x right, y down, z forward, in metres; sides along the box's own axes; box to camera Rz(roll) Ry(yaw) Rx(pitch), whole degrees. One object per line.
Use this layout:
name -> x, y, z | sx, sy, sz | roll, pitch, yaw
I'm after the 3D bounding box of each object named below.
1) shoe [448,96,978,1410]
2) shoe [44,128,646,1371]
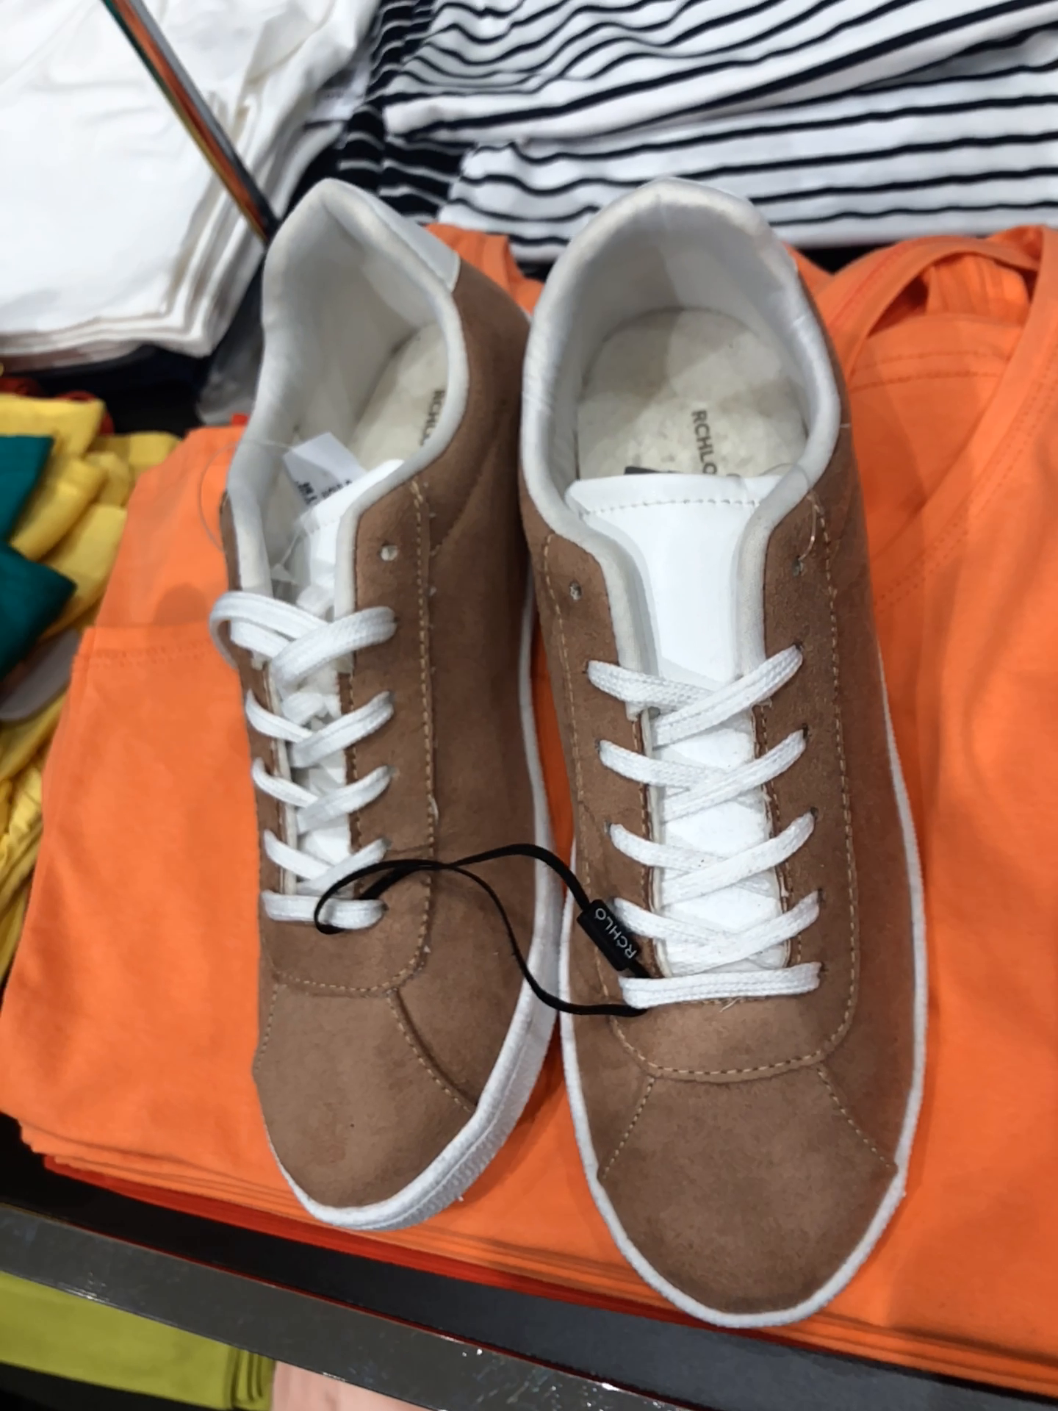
shoe -> 0.044, 0.010, 0.275 | 0.090, 0.100, 0.250 | -5, 75, 20
shoe -> -0.032, 0.006, 0.296 | 0.090, 0.100, 0.250 | -2, 76, 21
